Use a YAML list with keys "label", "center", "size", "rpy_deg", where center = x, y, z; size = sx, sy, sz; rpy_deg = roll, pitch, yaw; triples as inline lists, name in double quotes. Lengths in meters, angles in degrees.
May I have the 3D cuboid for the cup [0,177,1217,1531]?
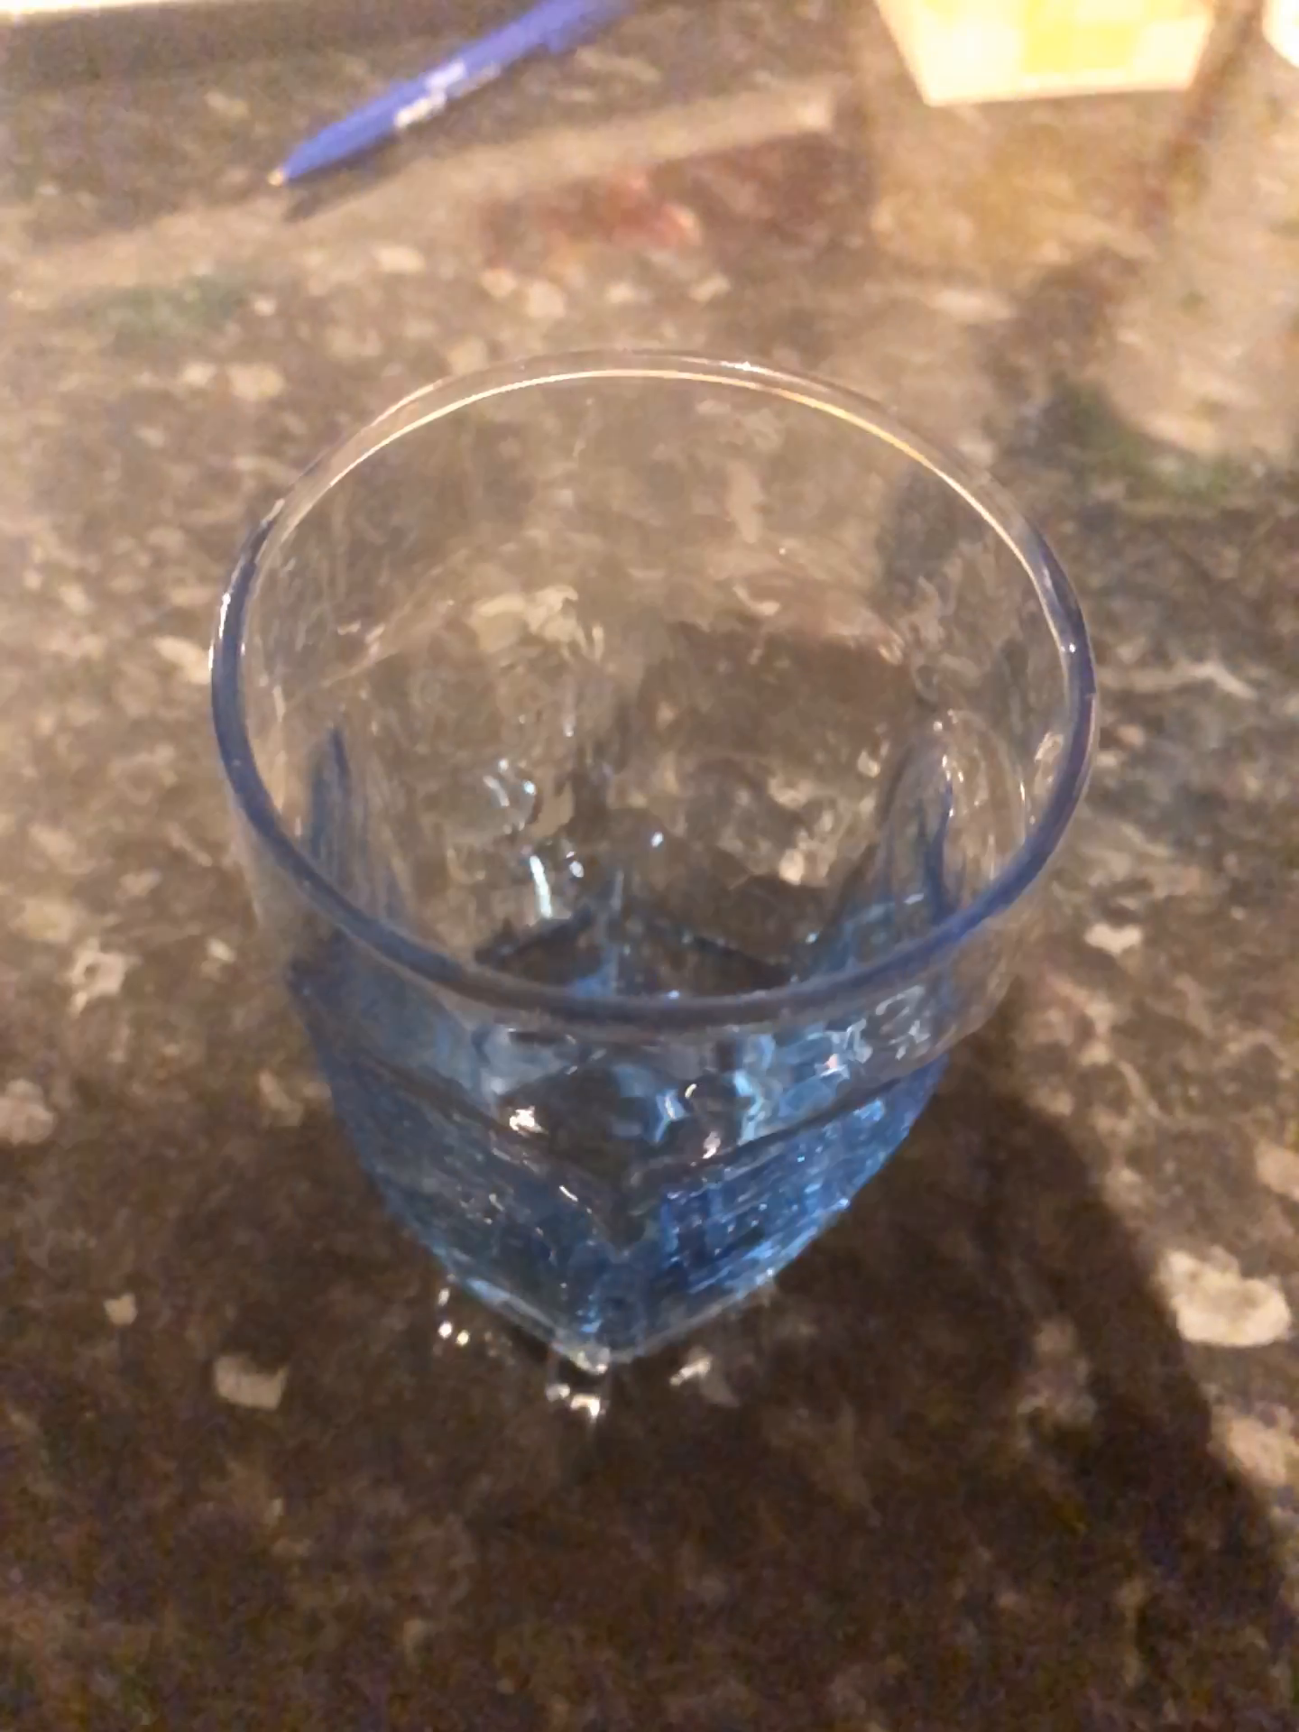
- label: "cup"
  center: [-0.010, 0.009, 0.167]
  size: [0.080, 0.119, 0.070]
  rpy_deg: [37, 62, 19]
